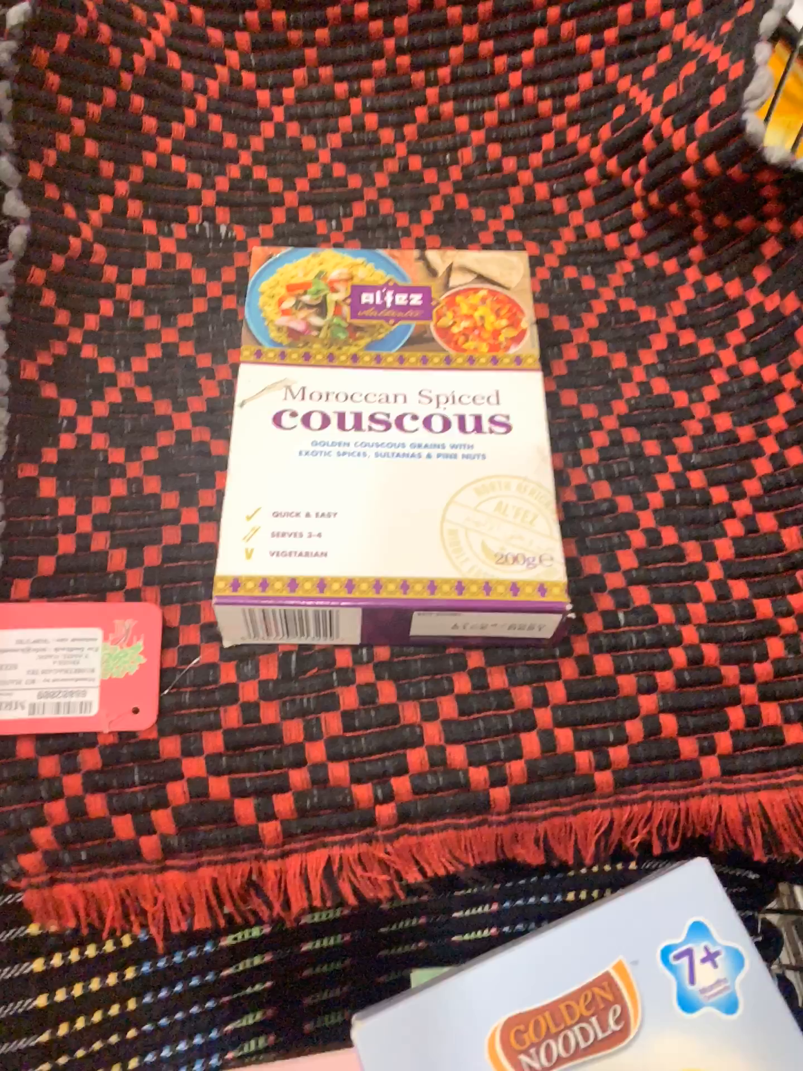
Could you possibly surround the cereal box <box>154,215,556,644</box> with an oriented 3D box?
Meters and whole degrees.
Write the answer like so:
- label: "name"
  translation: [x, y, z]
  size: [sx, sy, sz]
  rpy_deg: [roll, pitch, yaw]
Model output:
- label: "cereal box"
  translation: [-0.014, -0.044, 0.308]
  size: [0.120, 0.050, 0.160]
  rpy_deg: [1, 59, -1]
